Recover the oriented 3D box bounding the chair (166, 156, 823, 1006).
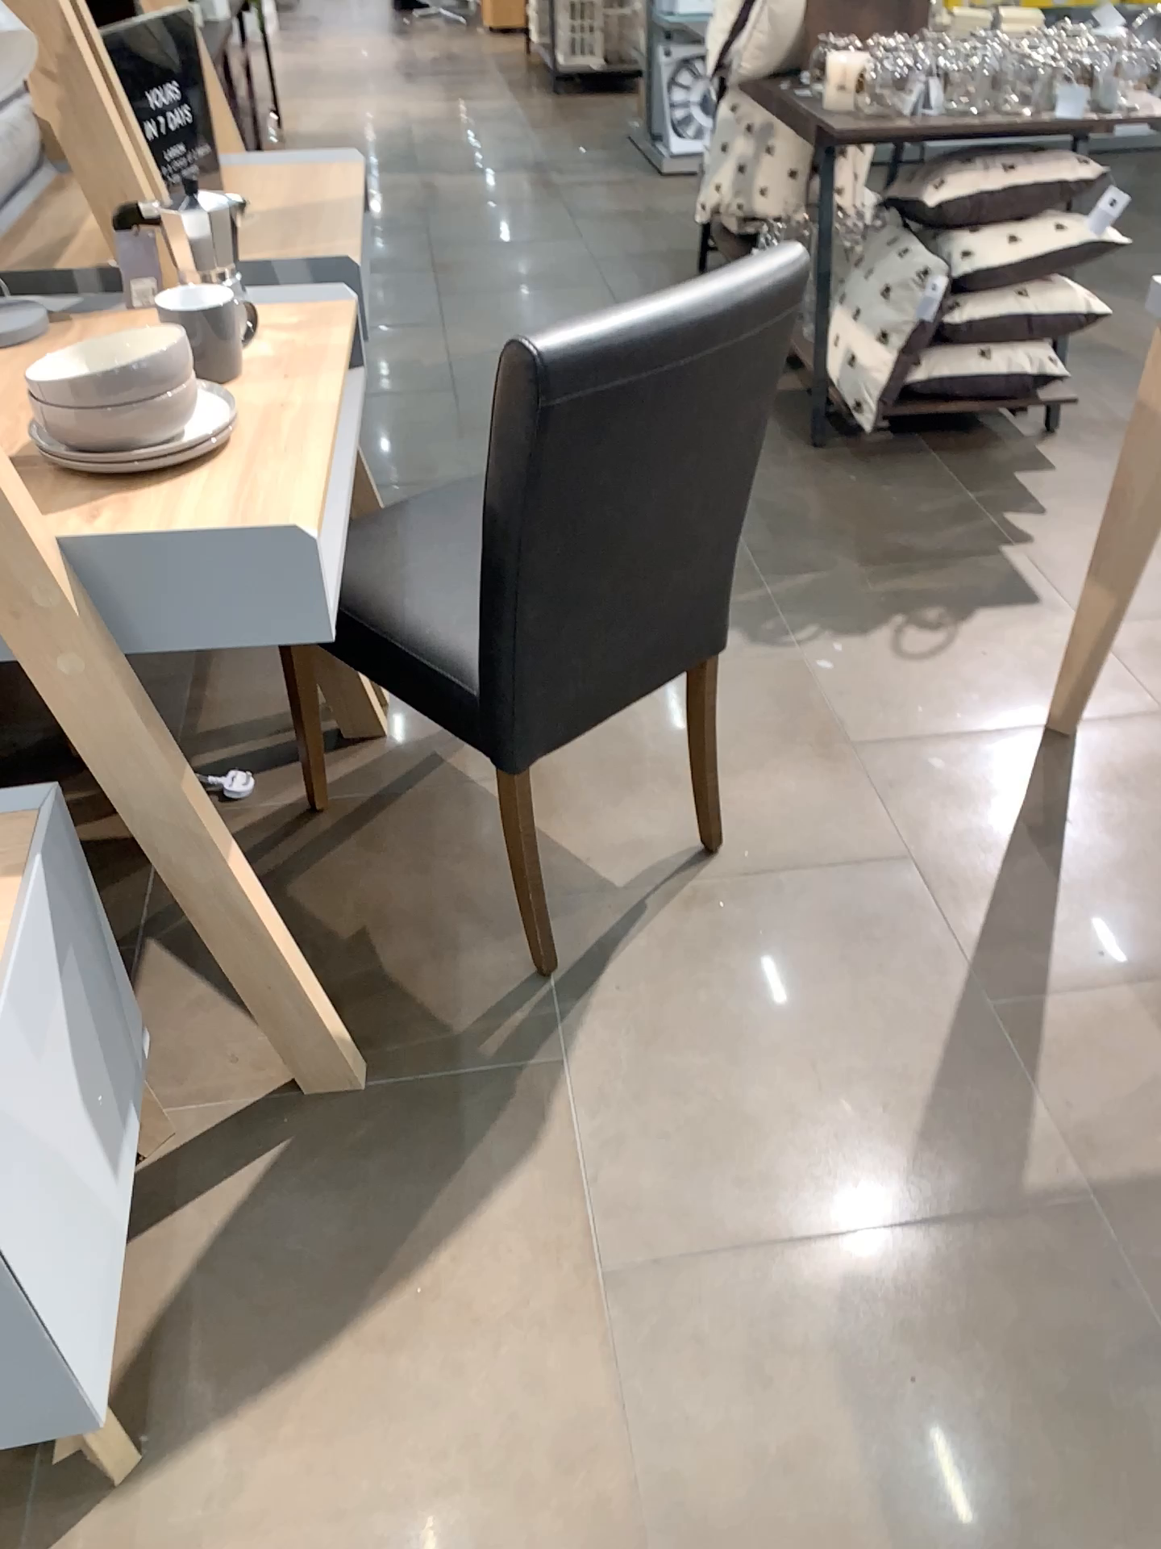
[{"bbox_3d":[-0.103,-0.272,1.613,0.607,0.887,0.459,31,48,34],"label":"chair"}]
